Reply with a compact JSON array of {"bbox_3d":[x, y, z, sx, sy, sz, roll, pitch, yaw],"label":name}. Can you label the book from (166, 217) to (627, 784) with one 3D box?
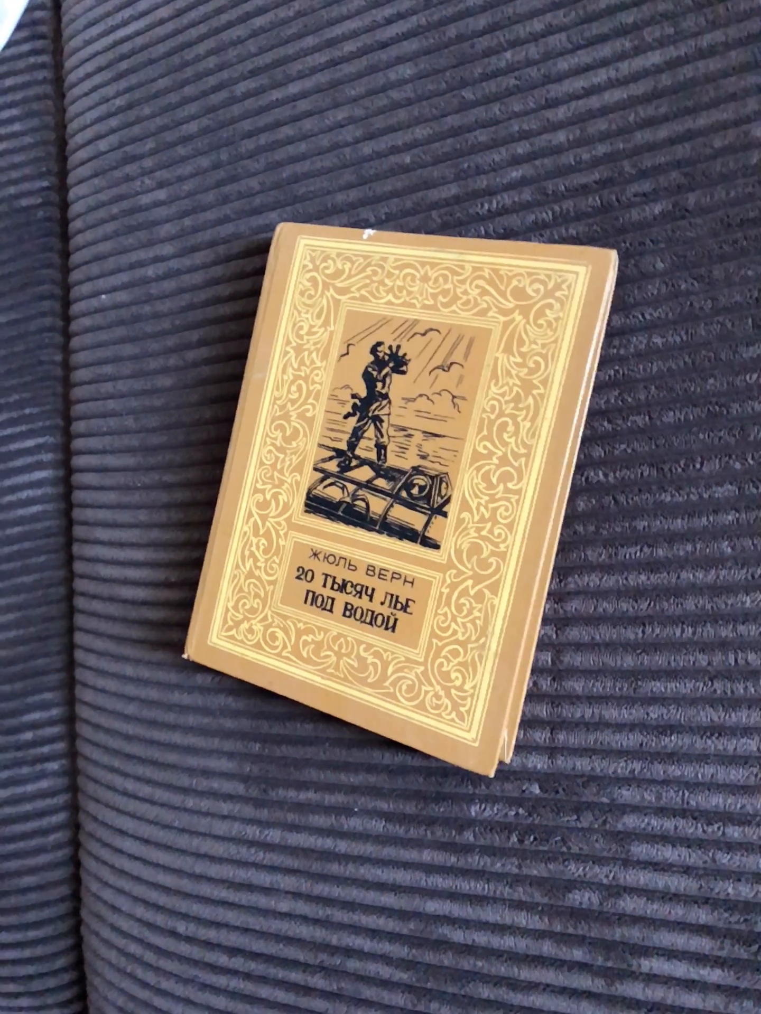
[{"bbox_3d":[-0.001,-0.013,0.381,0.170,0.029,0.219,13,92,26],"label":"book"}]
